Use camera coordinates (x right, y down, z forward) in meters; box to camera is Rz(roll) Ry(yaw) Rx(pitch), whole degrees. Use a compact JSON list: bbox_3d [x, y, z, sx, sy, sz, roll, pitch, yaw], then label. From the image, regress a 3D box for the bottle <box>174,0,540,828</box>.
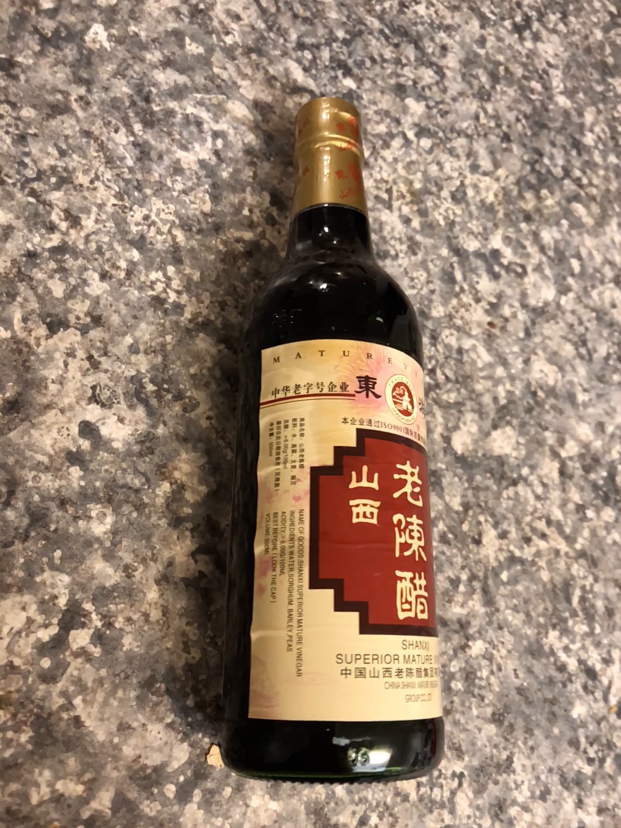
[{"bbox_3d":[0.012,-0.012,0.227,0.070,0.070,0.240,14,66,-30],"label":"bottle"}]
